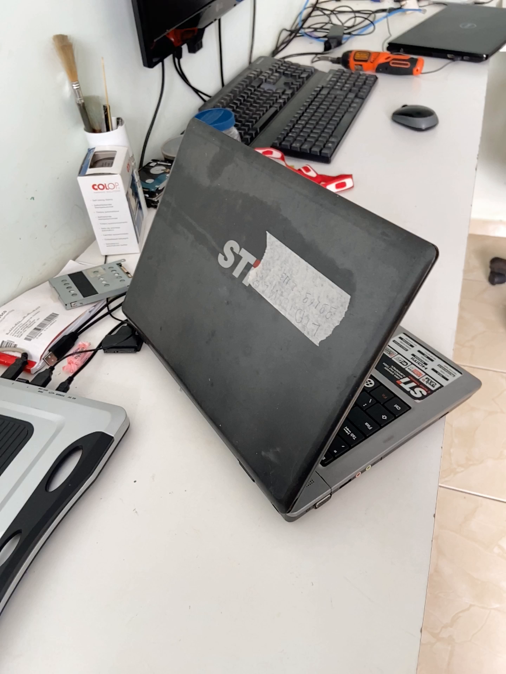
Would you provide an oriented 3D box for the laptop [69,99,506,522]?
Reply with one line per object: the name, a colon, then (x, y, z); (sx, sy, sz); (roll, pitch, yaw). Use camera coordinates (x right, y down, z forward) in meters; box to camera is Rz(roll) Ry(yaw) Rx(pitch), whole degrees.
laptop: (0.025, -0.062, 0.512); (0.242, 0.200, 0.343); (-28, 46, -21)
